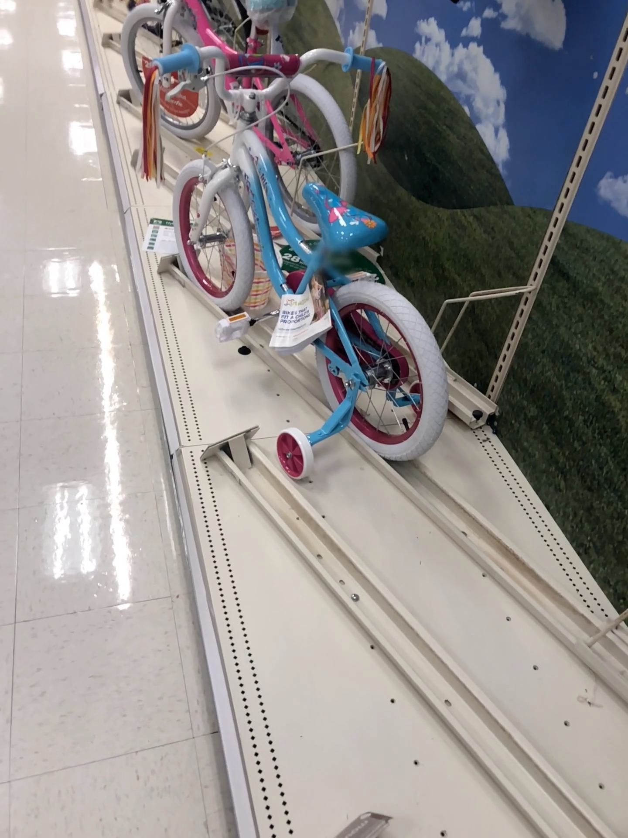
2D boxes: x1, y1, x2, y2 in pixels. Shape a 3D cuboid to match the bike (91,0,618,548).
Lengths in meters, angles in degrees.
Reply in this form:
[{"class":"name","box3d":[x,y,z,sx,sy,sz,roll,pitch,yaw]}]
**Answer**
[{"class":"bike","box3d":[-0.020,-0.441,1.598,0.533,0.723,1.094,-22,51,-32]}]
